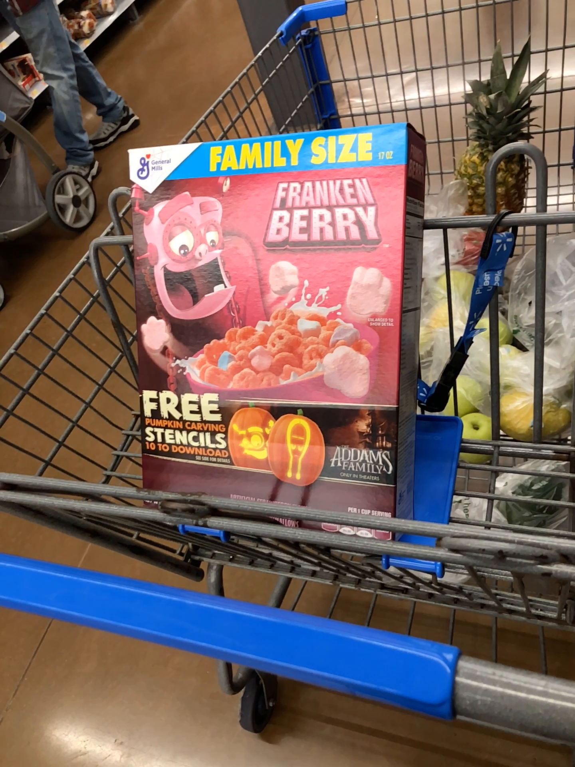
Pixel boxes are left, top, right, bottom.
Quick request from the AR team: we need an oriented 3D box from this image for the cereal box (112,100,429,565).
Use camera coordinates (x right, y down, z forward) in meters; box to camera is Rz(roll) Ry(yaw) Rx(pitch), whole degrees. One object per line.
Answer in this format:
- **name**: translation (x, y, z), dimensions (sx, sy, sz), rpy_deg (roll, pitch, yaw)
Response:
- **cereal box**: translation (-0.017, -0.039, 0.518), dimensions (0.240, 0.320, 0.070), rpy_deg (4, 11, 25)
